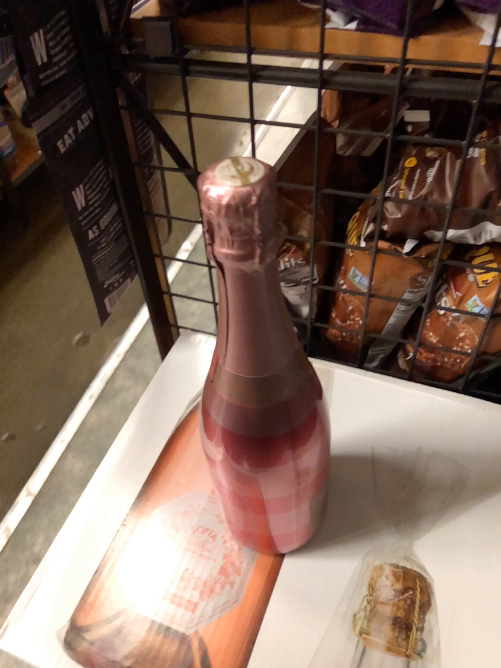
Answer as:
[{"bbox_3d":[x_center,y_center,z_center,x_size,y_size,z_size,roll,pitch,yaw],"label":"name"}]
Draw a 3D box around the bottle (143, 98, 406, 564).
[{"bbox_3d":[0.015,0.034,0.333,0.090,0.309,0.090,-2,47,2],"label":"bottle"}]
